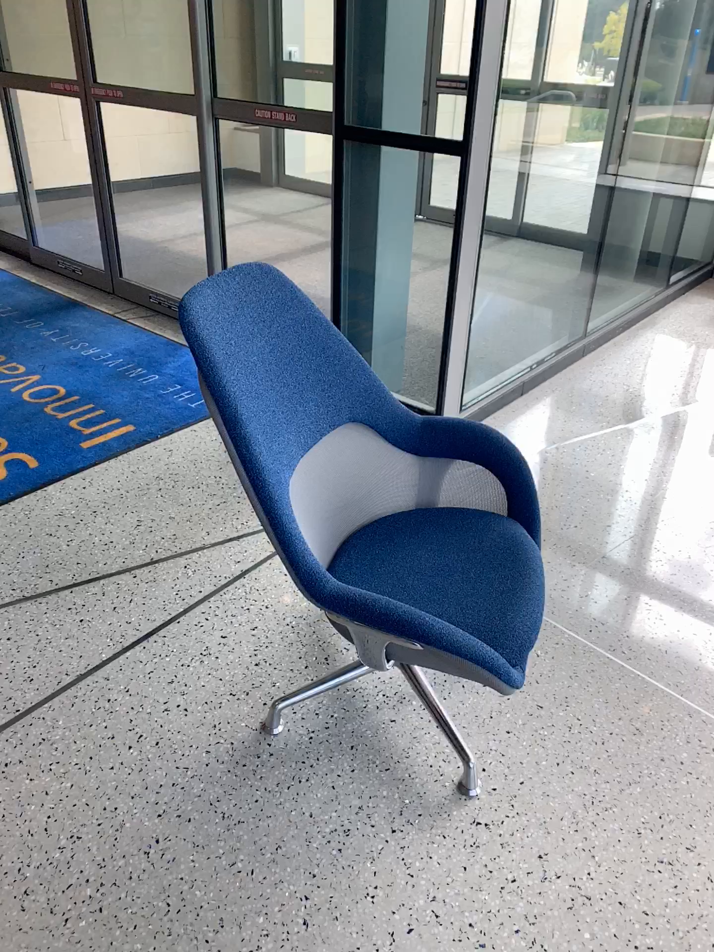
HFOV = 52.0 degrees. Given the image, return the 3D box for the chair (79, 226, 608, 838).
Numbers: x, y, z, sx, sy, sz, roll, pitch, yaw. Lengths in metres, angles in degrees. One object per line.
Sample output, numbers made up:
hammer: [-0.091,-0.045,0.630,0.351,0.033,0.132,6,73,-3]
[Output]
chair: [0.035,0.055,1.582,0.785,0.933,0.730,11,32,14]
